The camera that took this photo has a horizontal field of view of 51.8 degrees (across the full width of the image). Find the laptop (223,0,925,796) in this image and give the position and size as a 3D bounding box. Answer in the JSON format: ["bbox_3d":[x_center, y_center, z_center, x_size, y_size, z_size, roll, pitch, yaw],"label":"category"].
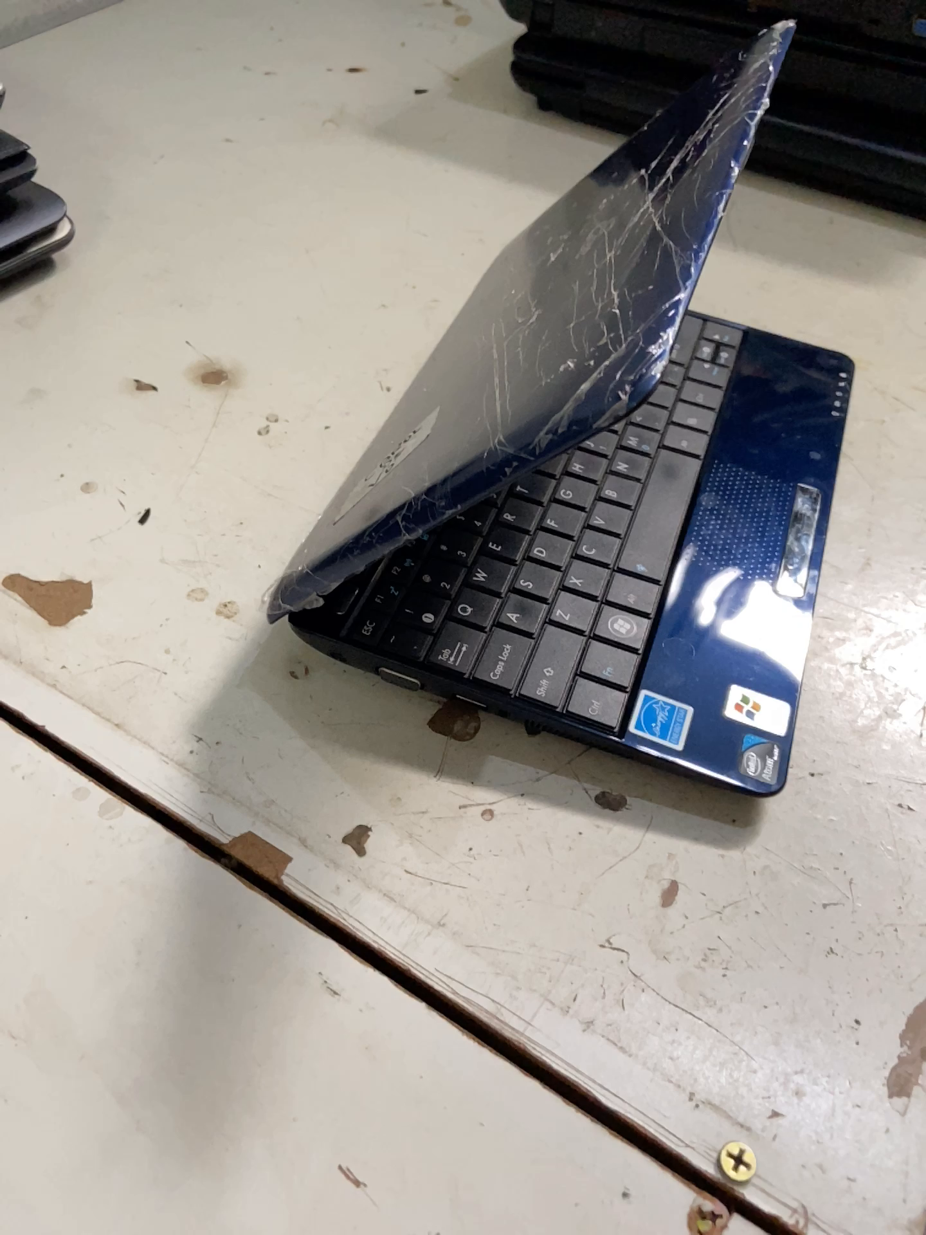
[{"bbox_3d":[0.063,-0.102,0.351,0.169,0.121,0.260,18,50,9],"label":"laptop"}]
